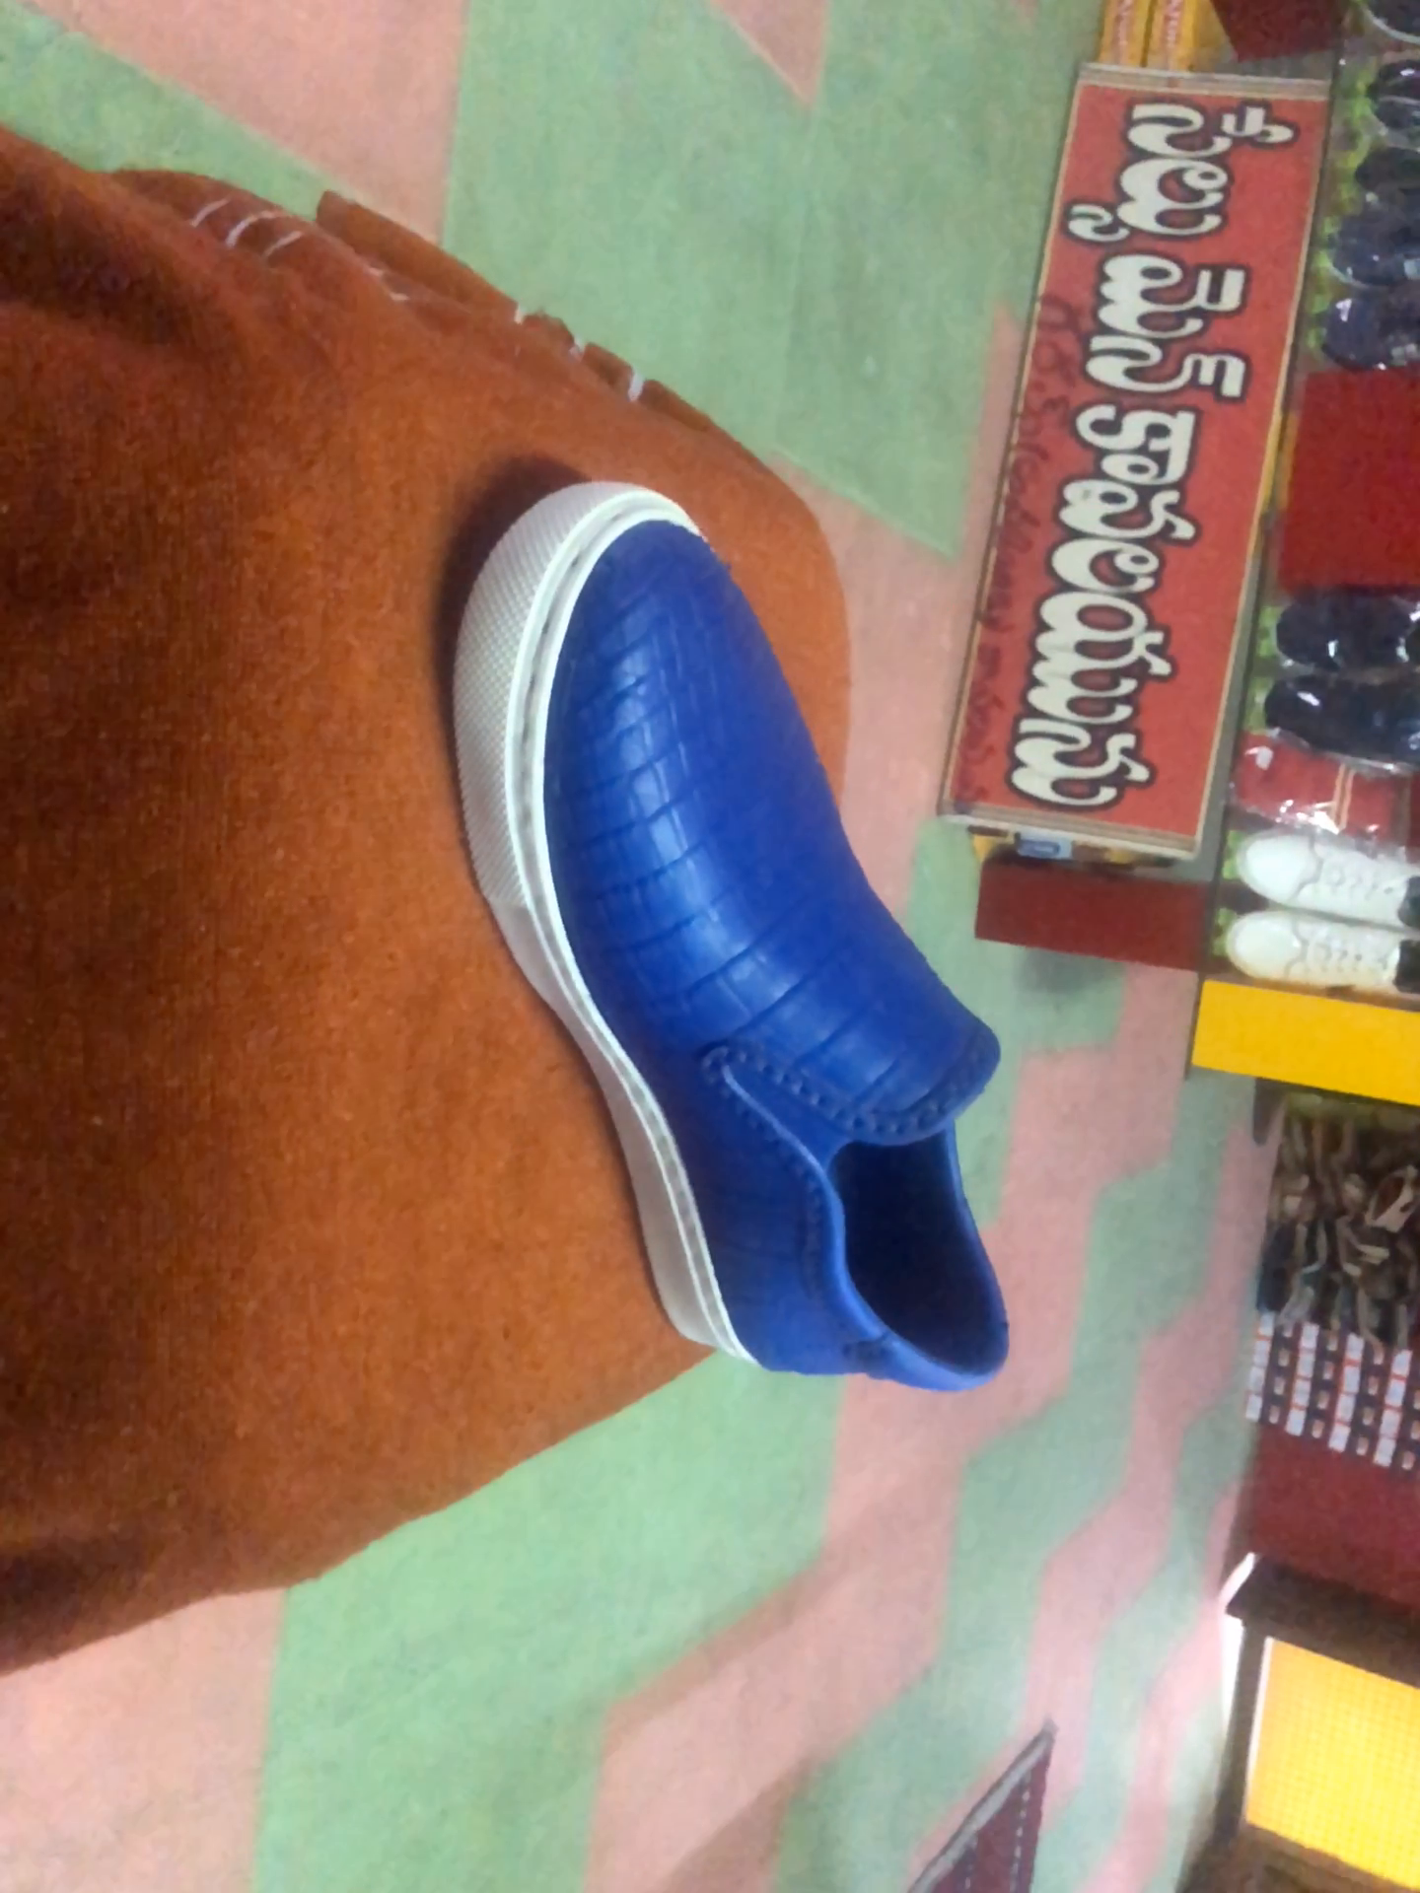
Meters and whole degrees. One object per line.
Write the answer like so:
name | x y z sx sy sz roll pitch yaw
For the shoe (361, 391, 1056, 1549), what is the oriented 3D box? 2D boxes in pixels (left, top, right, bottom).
shoe | 0.022 0.020 0.427 0.110 0.079 0.301 -52 138 -39
